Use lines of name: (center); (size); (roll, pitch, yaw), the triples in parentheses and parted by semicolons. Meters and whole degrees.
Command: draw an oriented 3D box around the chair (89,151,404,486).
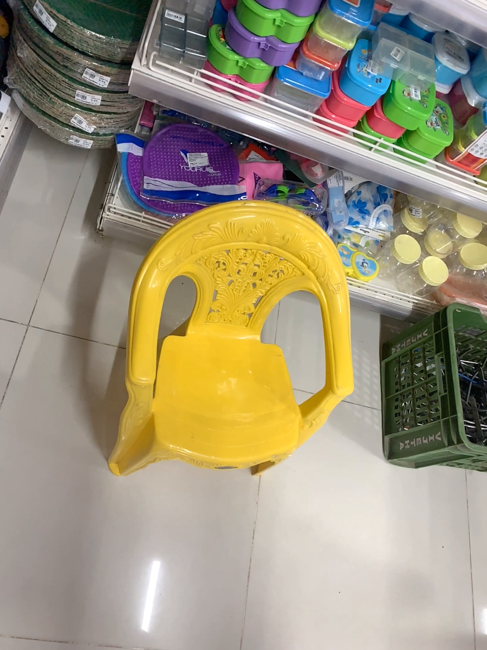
chair: (-0.041, 0.047, 0.940); (0.420, 0.449, 0.460); (6, 67, -18)
